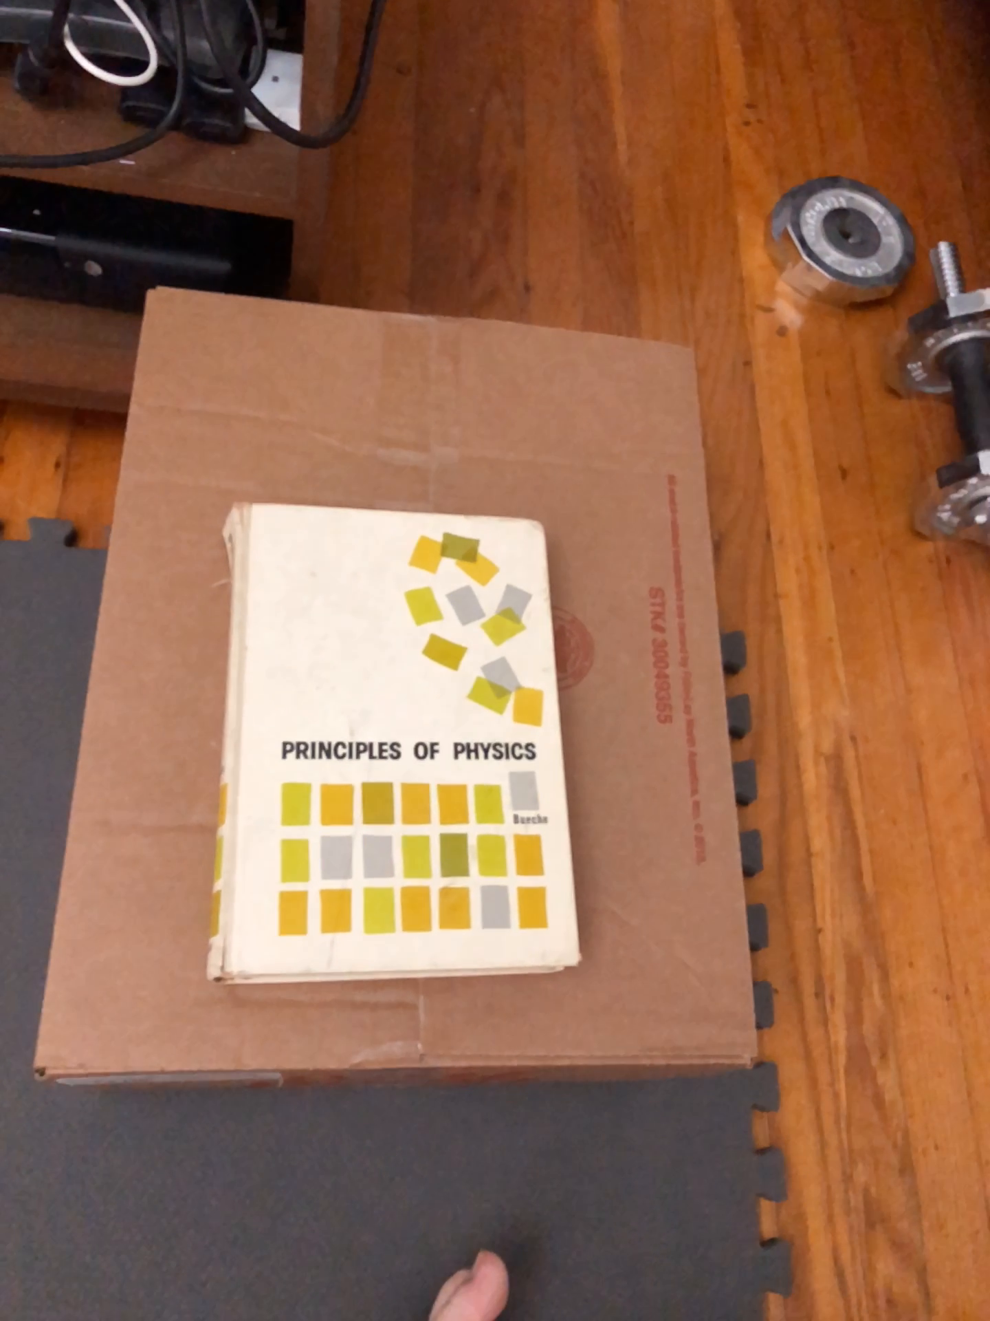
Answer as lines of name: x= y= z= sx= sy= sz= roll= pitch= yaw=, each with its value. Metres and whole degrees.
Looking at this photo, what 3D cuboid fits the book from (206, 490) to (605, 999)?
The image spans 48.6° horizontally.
book: x=-0.046 y=0.038 z=0.558 sx=0.180 sy=0.040 sz=0.251 roll=2 pitch=67 yaw=-11
